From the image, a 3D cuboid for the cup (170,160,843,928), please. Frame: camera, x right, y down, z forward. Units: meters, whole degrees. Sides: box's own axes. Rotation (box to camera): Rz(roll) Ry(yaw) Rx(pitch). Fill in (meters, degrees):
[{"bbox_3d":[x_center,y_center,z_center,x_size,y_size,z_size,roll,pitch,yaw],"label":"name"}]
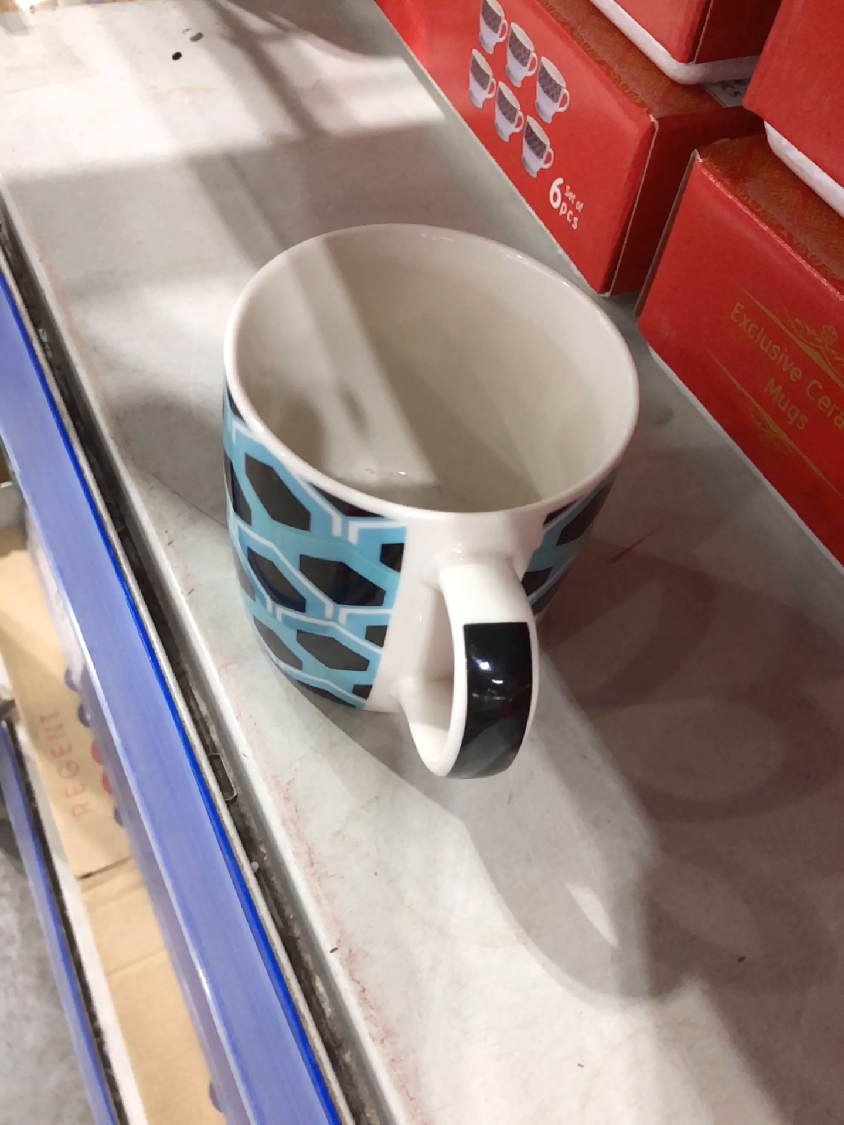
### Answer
[{"bbox_3d":[0.006,-0.006,0.232,0.110,0.120,0.130,-7,54,-15],"label":"cup"}]
